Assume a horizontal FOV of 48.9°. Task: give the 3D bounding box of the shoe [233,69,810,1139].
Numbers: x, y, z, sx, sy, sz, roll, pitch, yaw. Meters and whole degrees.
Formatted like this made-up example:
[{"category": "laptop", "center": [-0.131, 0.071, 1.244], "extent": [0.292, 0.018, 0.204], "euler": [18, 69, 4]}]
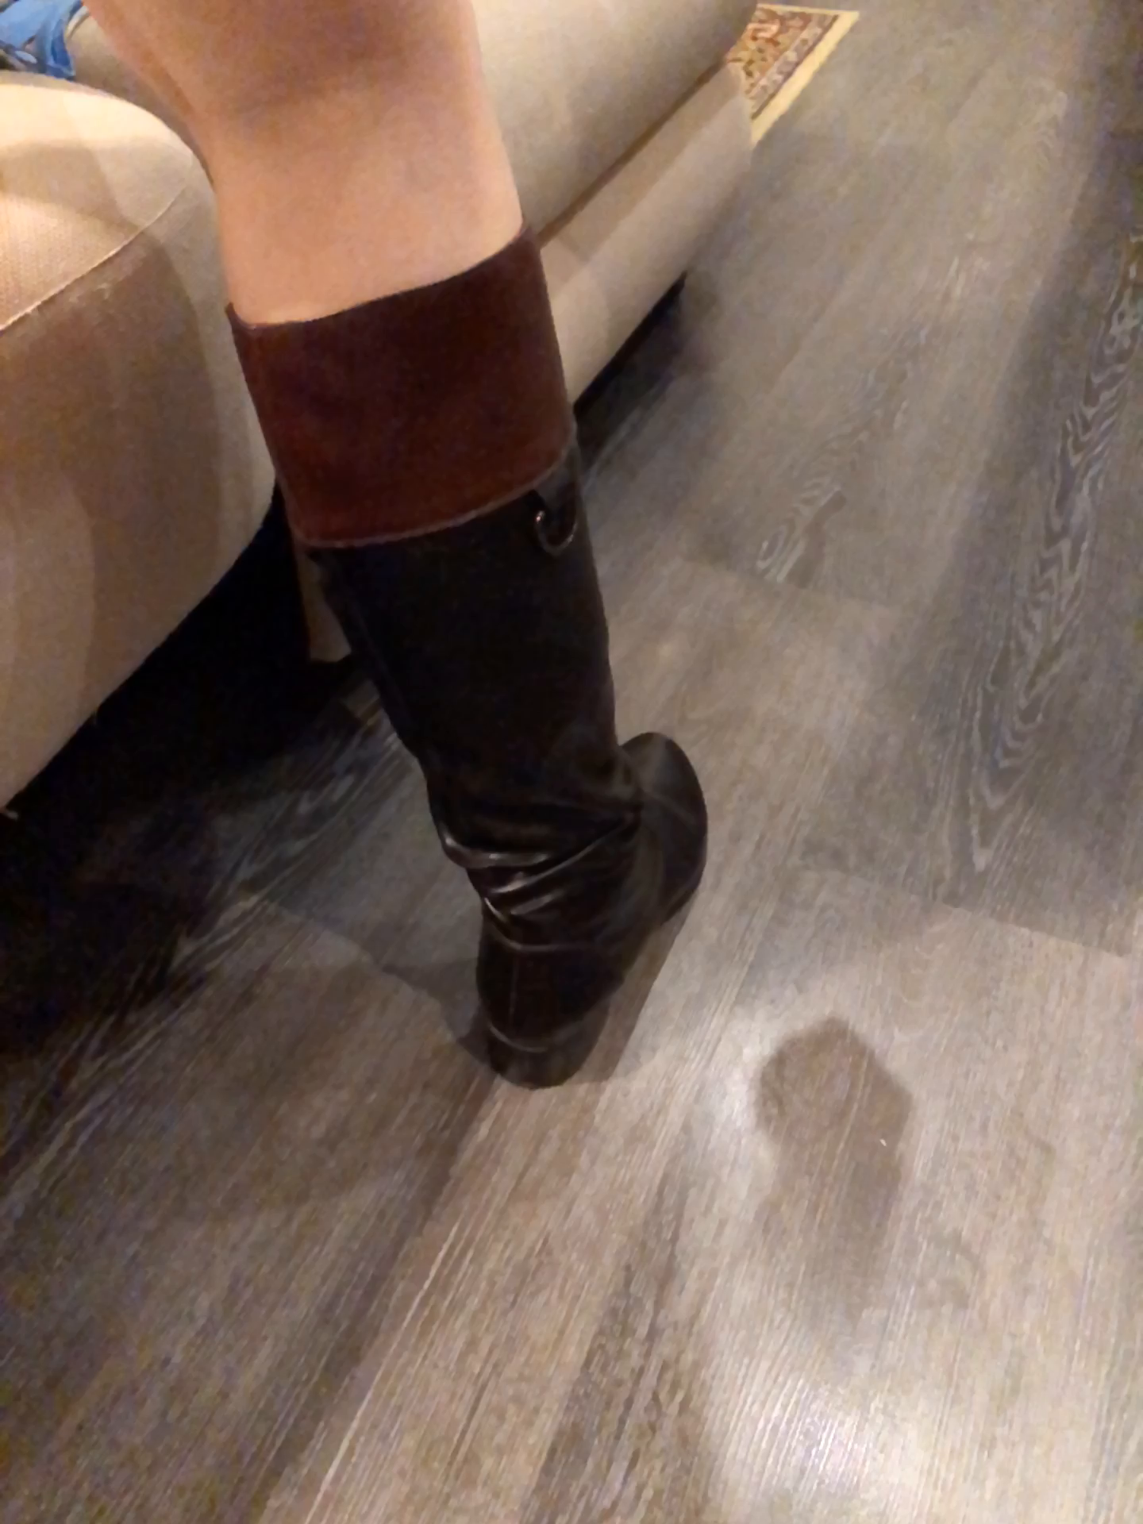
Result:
[{"category": "shoe", "center": [0.006, -0.059, 0.604], "extent": [0.110, 0.417, 0.271], "euler": [15, 47, 17]}]
